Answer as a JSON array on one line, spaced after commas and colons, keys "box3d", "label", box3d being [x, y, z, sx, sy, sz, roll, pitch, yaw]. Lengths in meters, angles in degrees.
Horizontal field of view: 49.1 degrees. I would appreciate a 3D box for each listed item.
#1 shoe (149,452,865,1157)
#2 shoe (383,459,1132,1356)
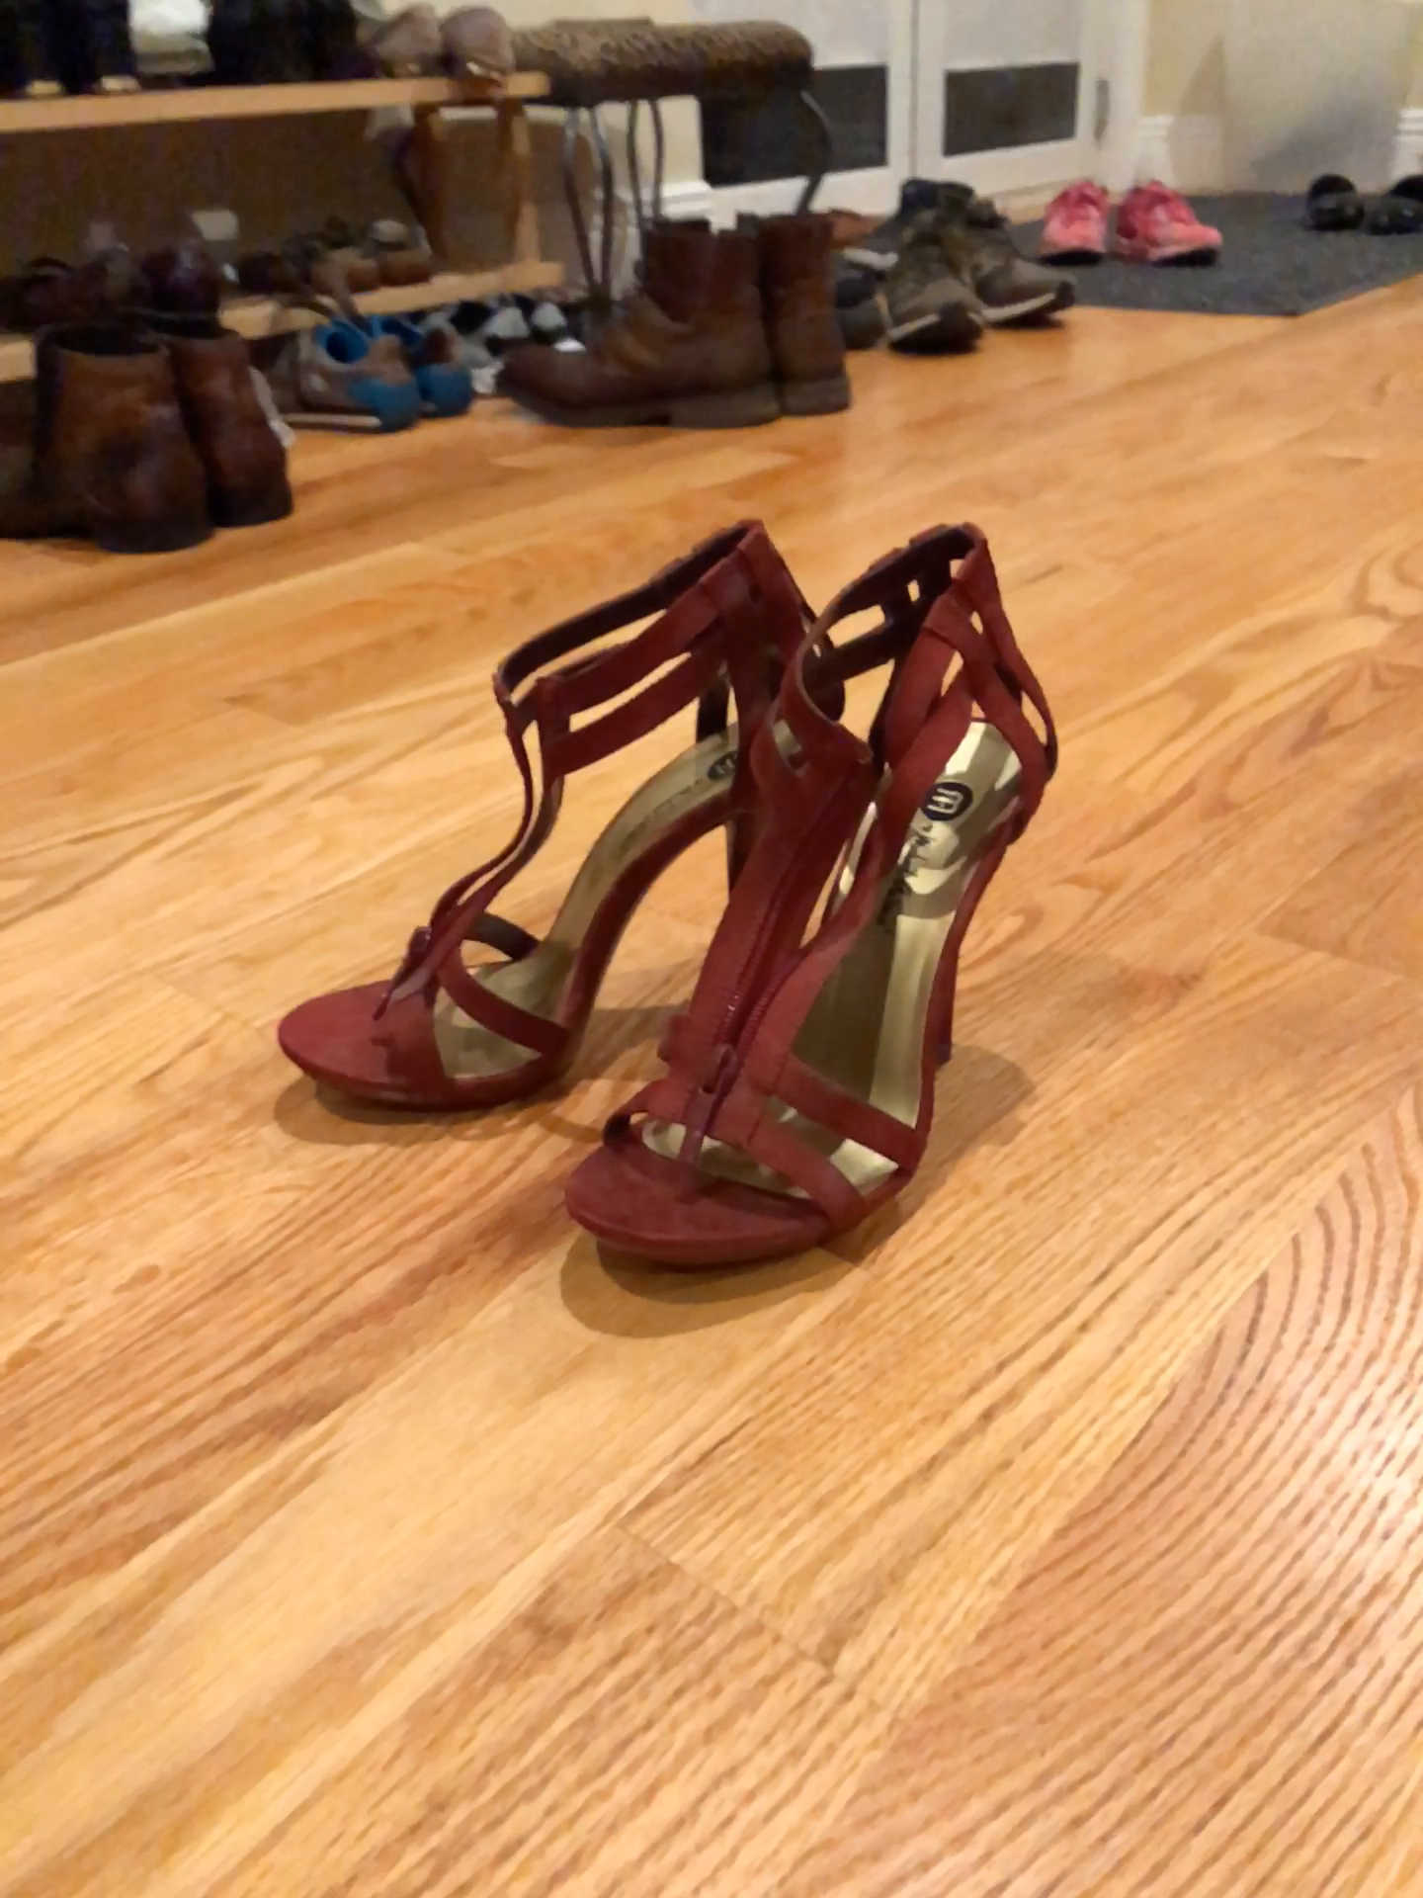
[{"box3d": [-0.058, -0.053, 0.512, 0.199, 0.175, 0.085, -14, 30, -19], "label": "shoe"}, {"box3d": [0.027, -0.027, 0.447, 0.085, 0.175, 0.207, 20, 36, 36], "label": "shoe"}]
